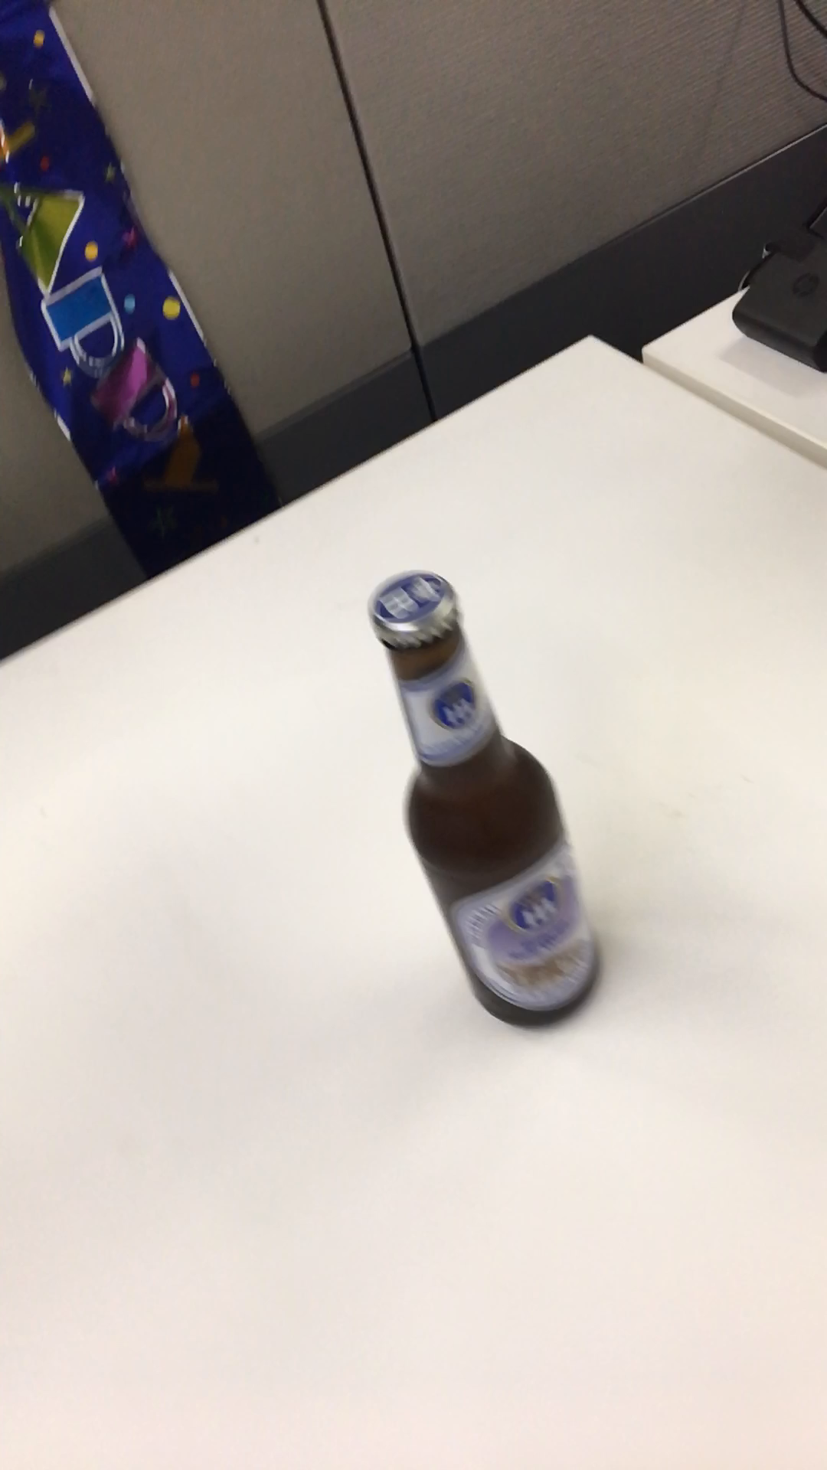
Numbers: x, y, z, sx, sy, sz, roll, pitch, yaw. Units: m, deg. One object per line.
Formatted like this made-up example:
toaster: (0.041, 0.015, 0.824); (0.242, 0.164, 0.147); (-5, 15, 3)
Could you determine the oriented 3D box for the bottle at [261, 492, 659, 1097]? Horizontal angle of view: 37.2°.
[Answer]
bottle: (0.027, 0.035, 0.466); (0.080, 0.230, 0.080); (-9, 47, 10)
